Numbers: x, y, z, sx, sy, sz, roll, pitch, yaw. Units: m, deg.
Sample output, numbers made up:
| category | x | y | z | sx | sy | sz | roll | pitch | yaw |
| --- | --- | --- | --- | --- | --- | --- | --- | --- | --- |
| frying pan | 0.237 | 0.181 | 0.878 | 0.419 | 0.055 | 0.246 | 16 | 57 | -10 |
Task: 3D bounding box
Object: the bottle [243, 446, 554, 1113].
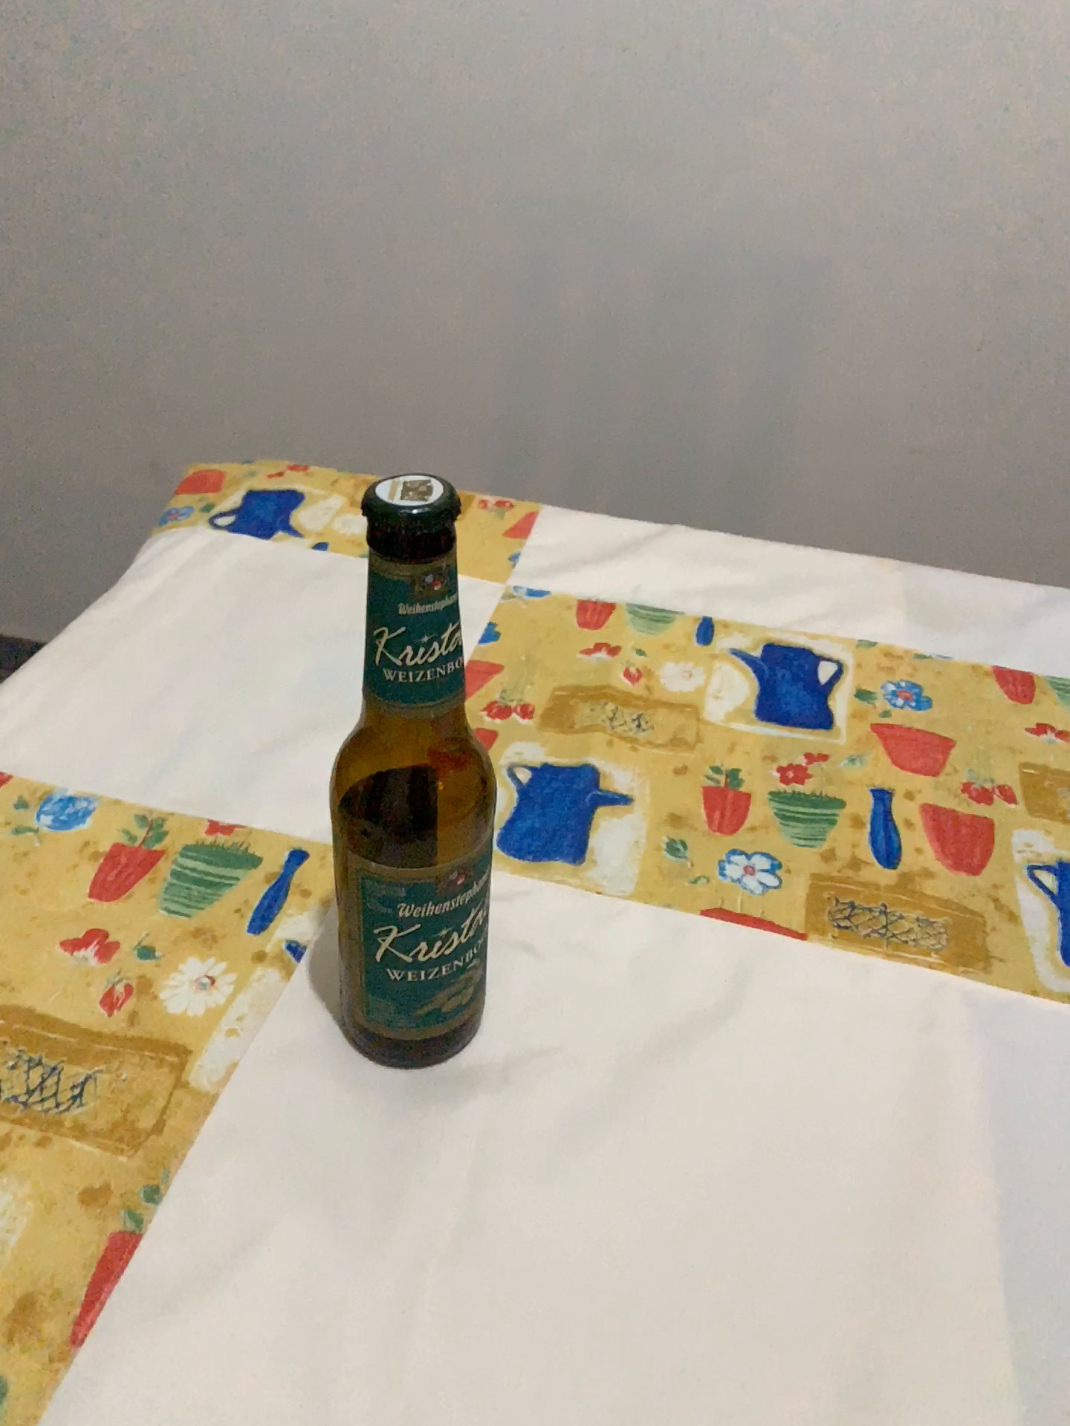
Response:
| category | x | y | z | sx | sy | sz | roll | pitch | yaw |
| --- | --- | --- | --- | --- | --- | --- | --- | --- | --- |
| bottle | -0.047 | 0.032 | 0.384 | 0.070 | 0.229 | 0.060 | -17 | 40 | -27 |
